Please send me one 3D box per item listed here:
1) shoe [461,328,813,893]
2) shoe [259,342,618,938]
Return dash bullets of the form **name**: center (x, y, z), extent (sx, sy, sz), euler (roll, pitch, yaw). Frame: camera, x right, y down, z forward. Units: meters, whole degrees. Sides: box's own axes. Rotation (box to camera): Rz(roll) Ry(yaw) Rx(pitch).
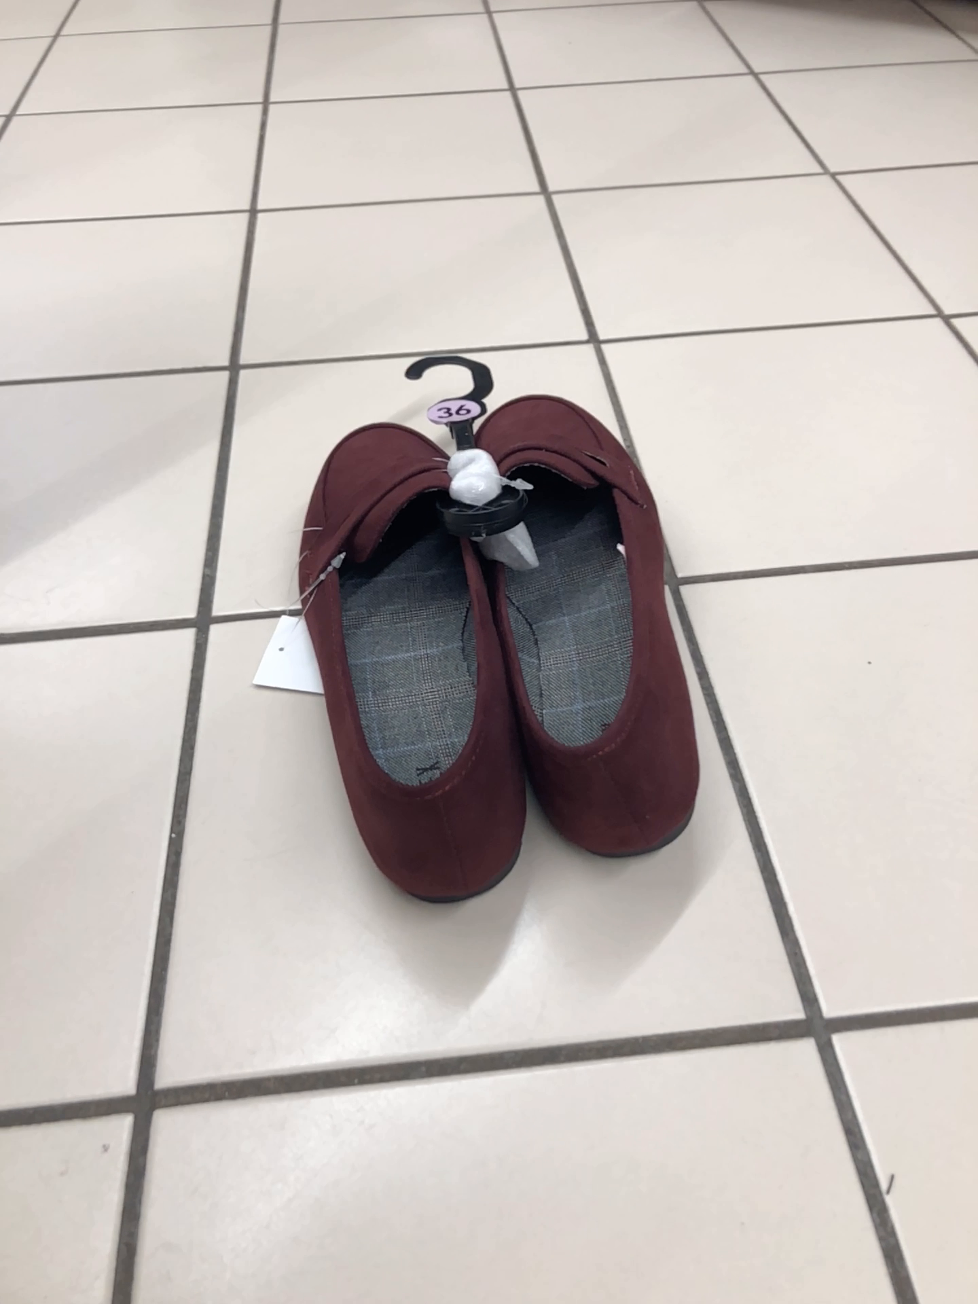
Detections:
- **shoe**: center (0.040, -0.033, 0.404), extent (0.078, 0.057, 0.240), euler (-5, 46, -4)
- **shoe**: center (-0.030, -0.023, 0.395), extent (0.079, 0.056, 0.240), euler (-10, 47, -9)
